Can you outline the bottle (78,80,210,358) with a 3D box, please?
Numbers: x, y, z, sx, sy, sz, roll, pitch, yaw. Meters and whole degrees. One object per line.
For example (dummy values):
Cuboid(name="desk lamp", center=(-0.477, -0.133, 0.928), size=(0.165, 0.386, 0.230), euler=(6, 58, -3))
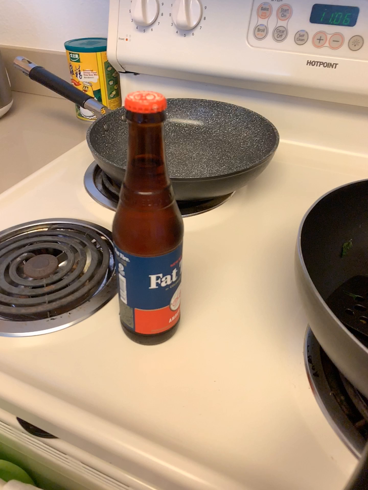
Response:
Cuboid(name="bottle", center=(-0.027, -0.009, 0.311), size=(0.060, 0.219, 0.060), euler=(1, 38, -1))
